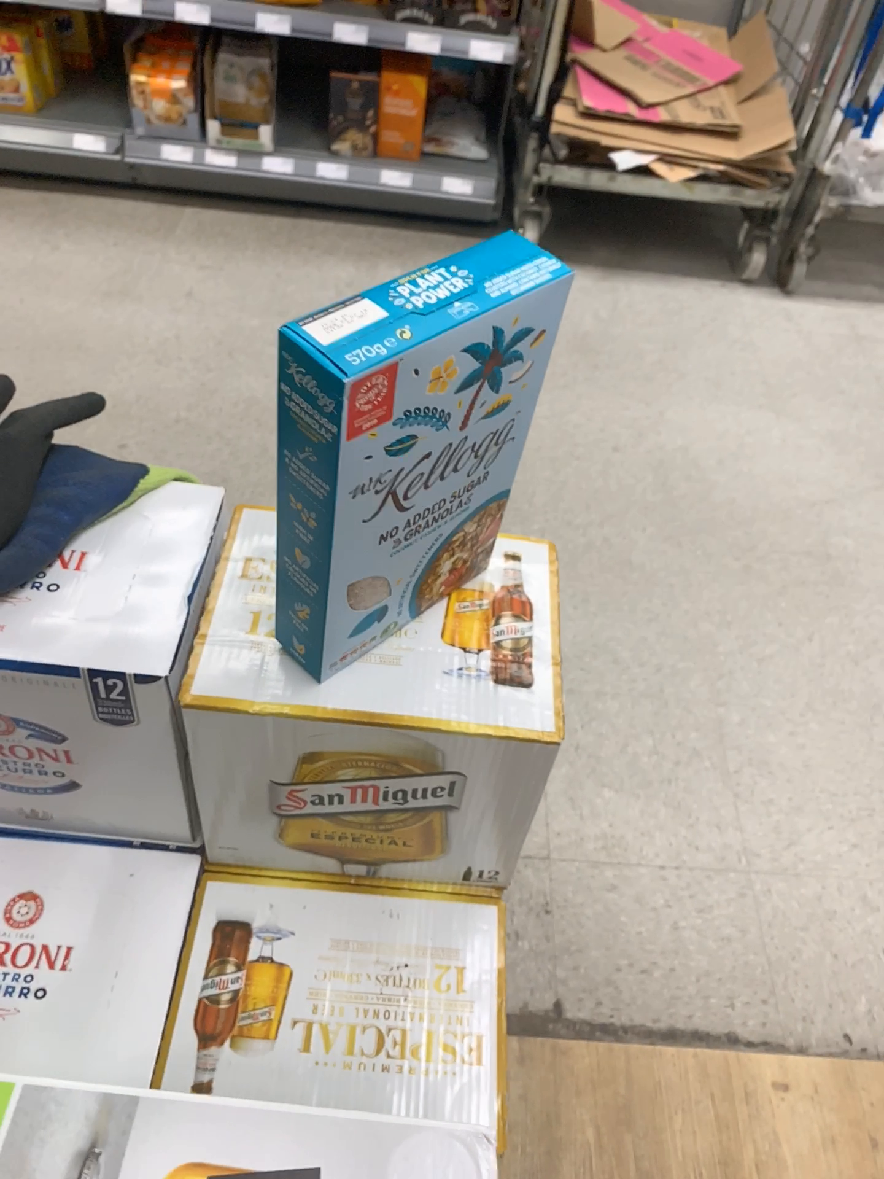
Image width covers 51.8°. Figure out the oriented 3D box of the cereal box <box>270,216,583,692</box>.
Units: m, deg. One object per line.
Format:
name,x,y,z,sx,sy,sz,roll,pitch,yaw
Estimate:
cereal box,-0.020,-0.067,0.528,0.161,0.248,0.050,-35,65,-32
